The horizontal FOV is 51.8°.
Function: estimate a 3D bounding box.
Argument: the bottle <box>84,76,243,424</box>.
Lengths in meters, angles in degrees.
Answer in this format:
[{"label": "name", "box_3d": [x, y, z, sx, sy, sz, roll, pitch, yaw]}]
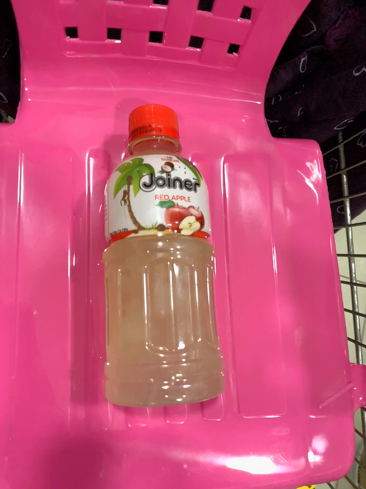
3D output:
[{"label": "bottle", "box_3d": [-0.015, 0.000, 0.203, 0.070, 0.050, 0.160, -1, 82, -12]}]
